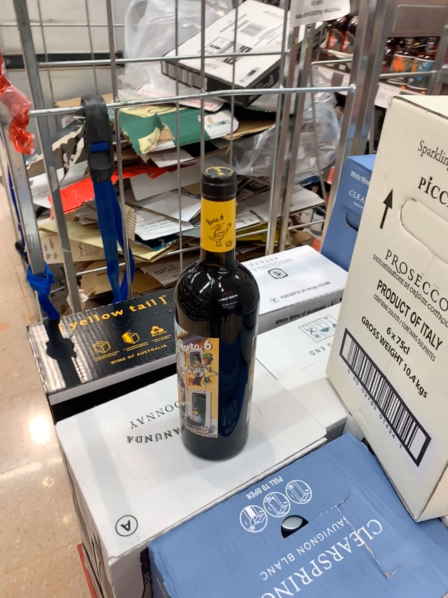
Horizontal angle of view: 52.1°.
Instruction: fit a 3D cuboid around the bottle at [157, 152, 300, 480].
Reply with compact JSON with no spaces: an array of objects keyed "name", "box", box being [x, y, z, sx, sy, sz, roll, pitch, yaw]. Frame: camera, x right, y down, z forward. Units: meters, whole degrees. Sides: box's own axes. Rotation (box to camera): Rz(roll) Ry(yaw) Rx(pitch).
[{"name":"bottle","box":[-0.007,0.029,0.420,0.077,0.295,0.079,3,34,-2]}]
